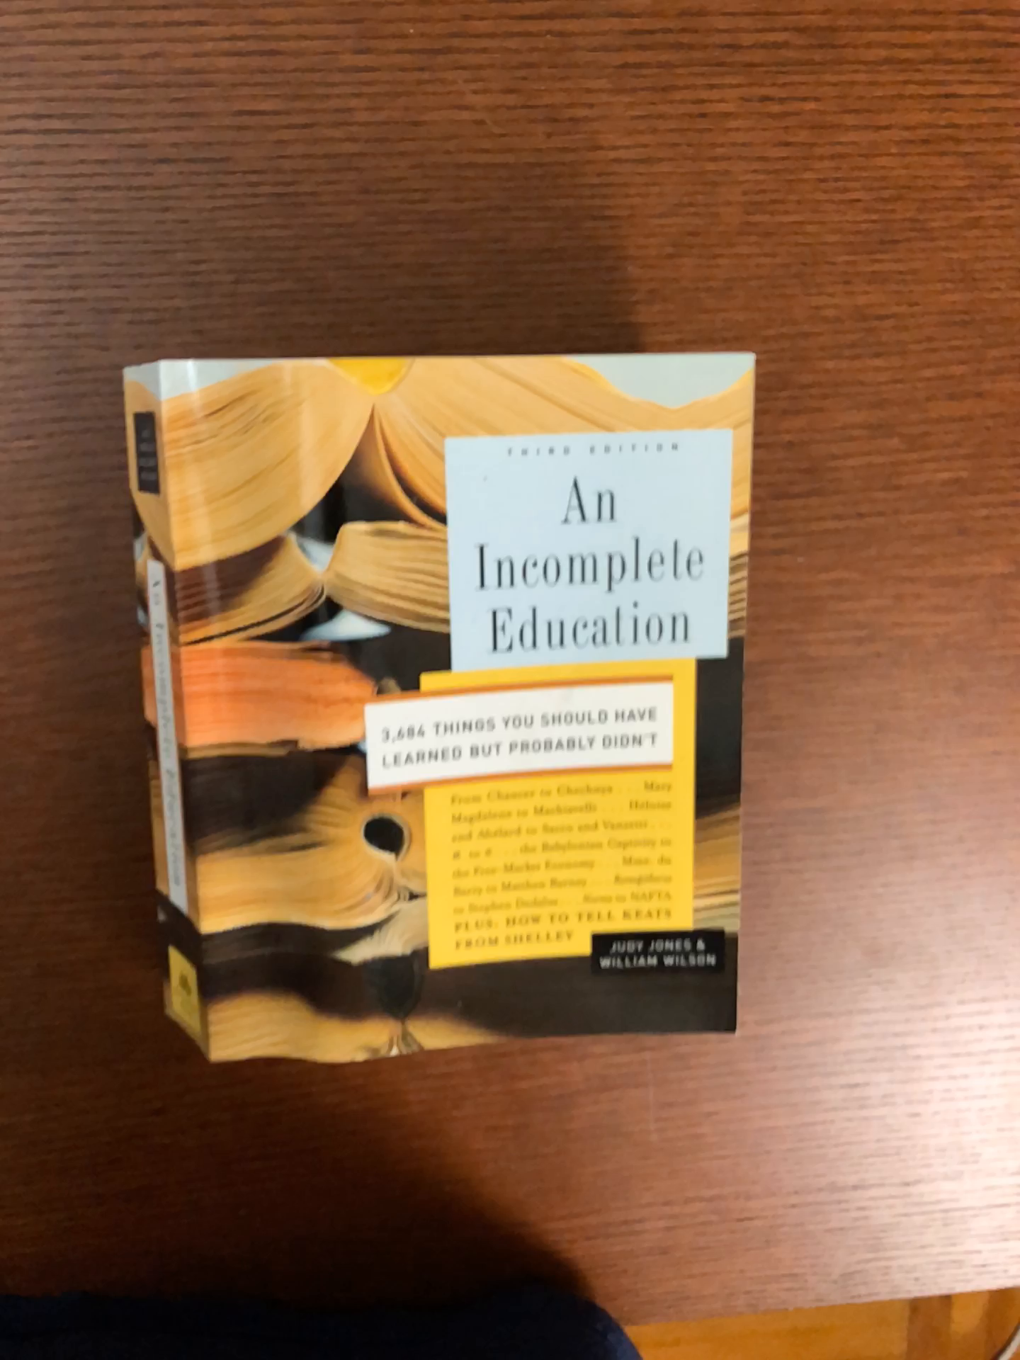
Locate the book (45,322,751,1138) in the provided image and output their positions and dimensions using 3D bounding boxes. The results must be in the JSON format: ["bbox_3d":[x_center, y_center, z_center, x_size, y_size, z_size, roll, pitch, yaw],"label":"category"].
[{"bbox_3d":[-0.028,0.012,0.393,0.210,0.060,0.250,-5,104,-12],"label":"book"}]
